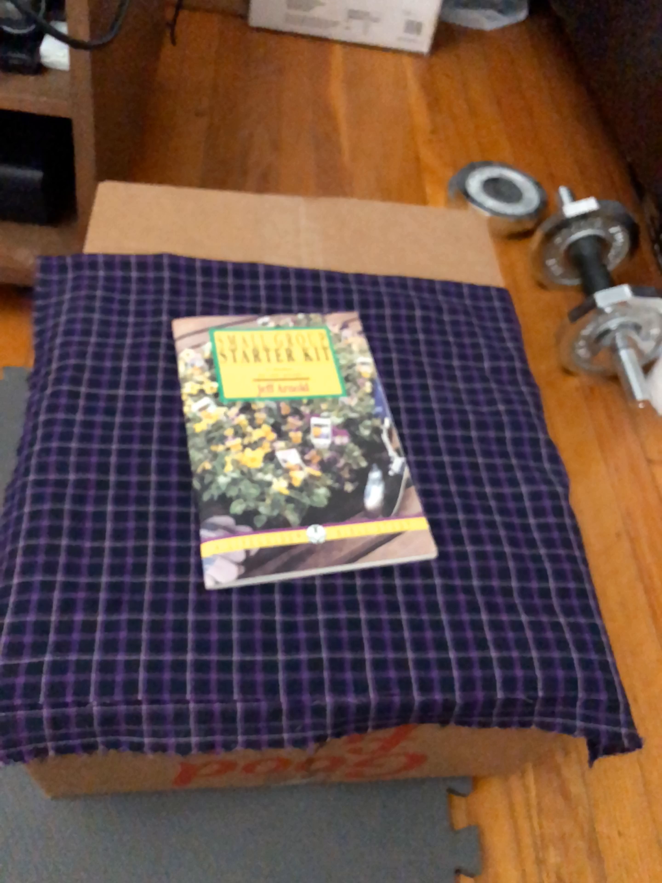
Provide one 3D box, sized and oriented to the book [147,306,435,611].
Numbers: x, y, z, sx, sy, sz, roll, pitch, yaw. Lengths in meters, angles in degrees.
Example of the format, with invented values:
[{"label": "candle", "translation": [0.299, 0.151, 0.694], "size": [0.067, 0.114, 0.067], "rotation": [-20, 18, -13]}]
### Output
[{"label": "book", "translation": [-0.035, -0.005, 0.483], "size": [0.150, 0.010, 0.221], "rotation": [-5, 55, -14]}]
